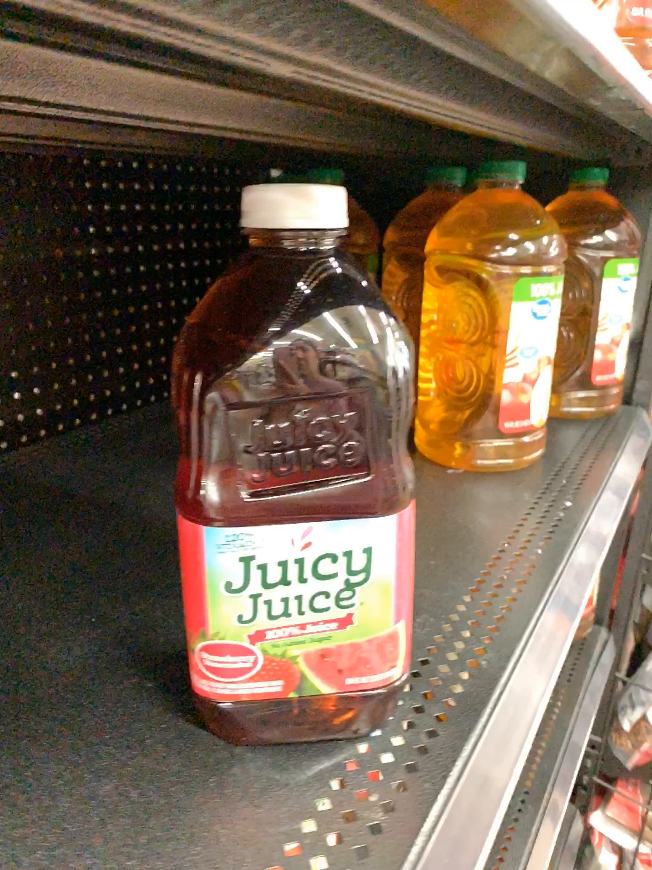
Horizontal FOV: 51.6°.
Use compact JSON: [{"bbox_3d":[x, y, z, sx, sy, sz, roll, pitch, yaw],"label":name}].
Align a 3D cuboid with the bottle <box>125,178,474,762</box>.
[{"bbox_3d":[-0.016,0.015,0.325,0.125,0.255,0.090,-2,20,-9],"label":"bottle"}]
